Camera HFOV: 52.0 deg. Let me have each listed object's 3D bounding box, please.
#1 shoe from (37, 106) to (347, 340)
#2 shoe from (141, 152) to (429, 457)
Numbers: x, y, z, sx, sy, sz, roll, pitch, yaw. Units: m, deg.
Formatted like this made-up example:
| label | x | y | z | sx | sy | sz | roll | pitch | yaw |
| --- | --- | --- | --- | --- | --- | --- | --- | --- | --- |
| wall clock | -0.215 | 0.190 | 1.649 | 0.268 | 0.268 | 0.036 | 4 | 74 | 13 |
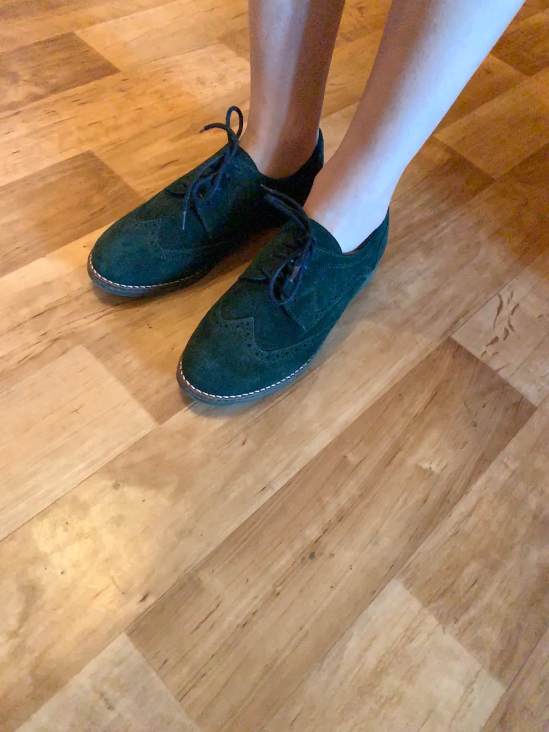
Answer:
| label | x | y | z | sx | sy | sz | roll | pitch | yaw |
| --- | --- | --- | --- | --- | --- | --- | --- | --- | --- |
| shoe | -0.064 | -0.138 | 0.511 | 0.260 | 0.080 | 0.090 | -34 | 70 | -28 |
| shoe | 0.015 | -0.061 | 0.460 | 0.100 | 0.080 | 0.251 | 34 | 58 | 11 |
